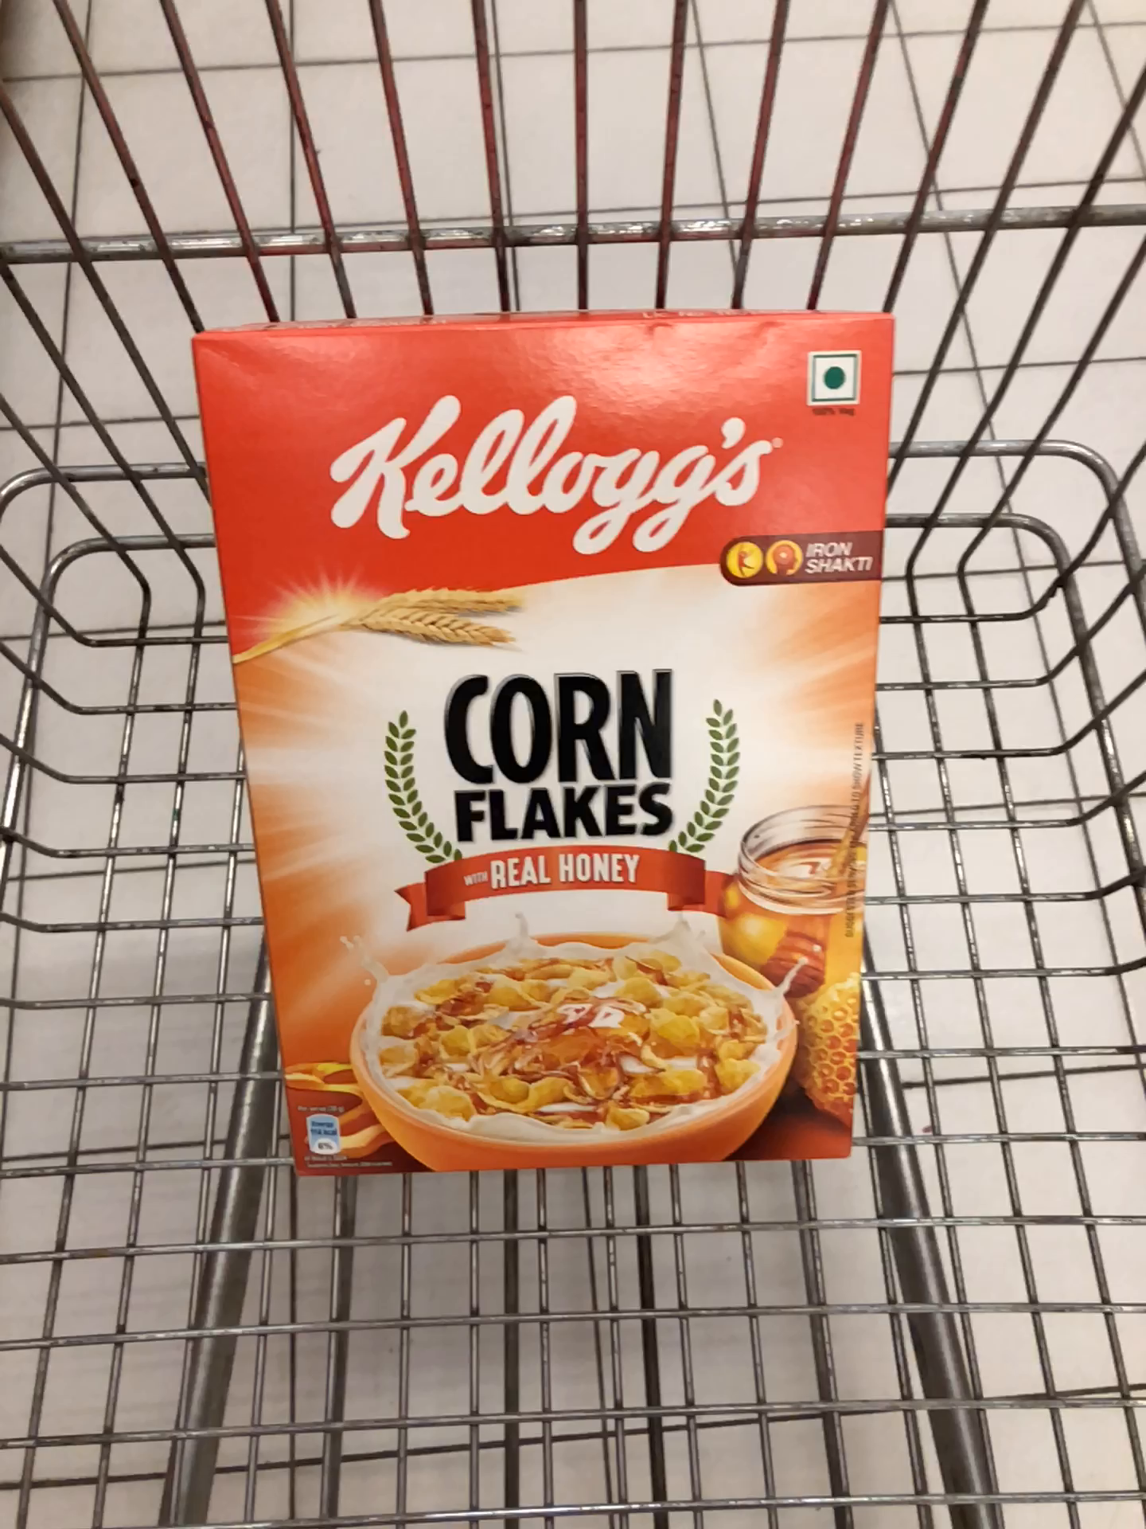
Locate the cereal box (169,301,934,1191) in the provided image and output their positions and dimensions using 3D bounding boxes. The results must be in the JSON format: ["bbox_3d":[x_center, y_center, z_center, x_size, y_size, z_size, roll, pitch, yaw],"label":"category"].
[{"bbox_3d":[-0.002,-0.004,0.396,0.190,0.080,0.259,-2,110,0],"label":"cereal box"}]
